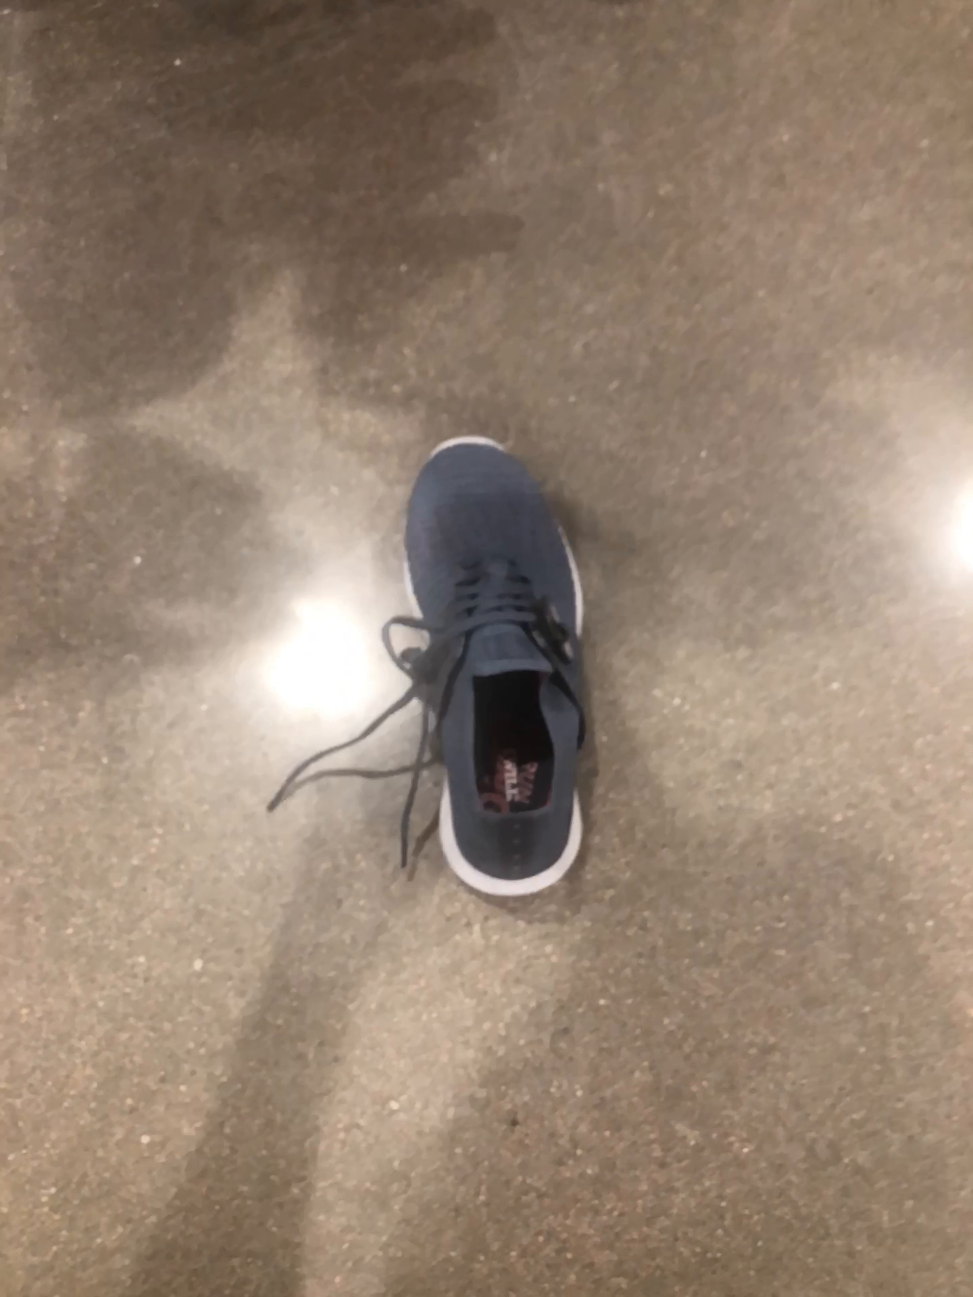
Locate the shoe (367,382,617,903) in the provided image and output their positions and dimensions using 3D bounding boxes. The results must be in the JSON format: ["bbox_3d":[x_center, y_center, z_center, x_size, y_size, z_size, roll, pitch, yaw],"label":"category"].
[{"bbox_3d":[-0.001,0.000,0.582,0.100,0.110,0.250,-5,72,-1],"label":"shoe"}]
